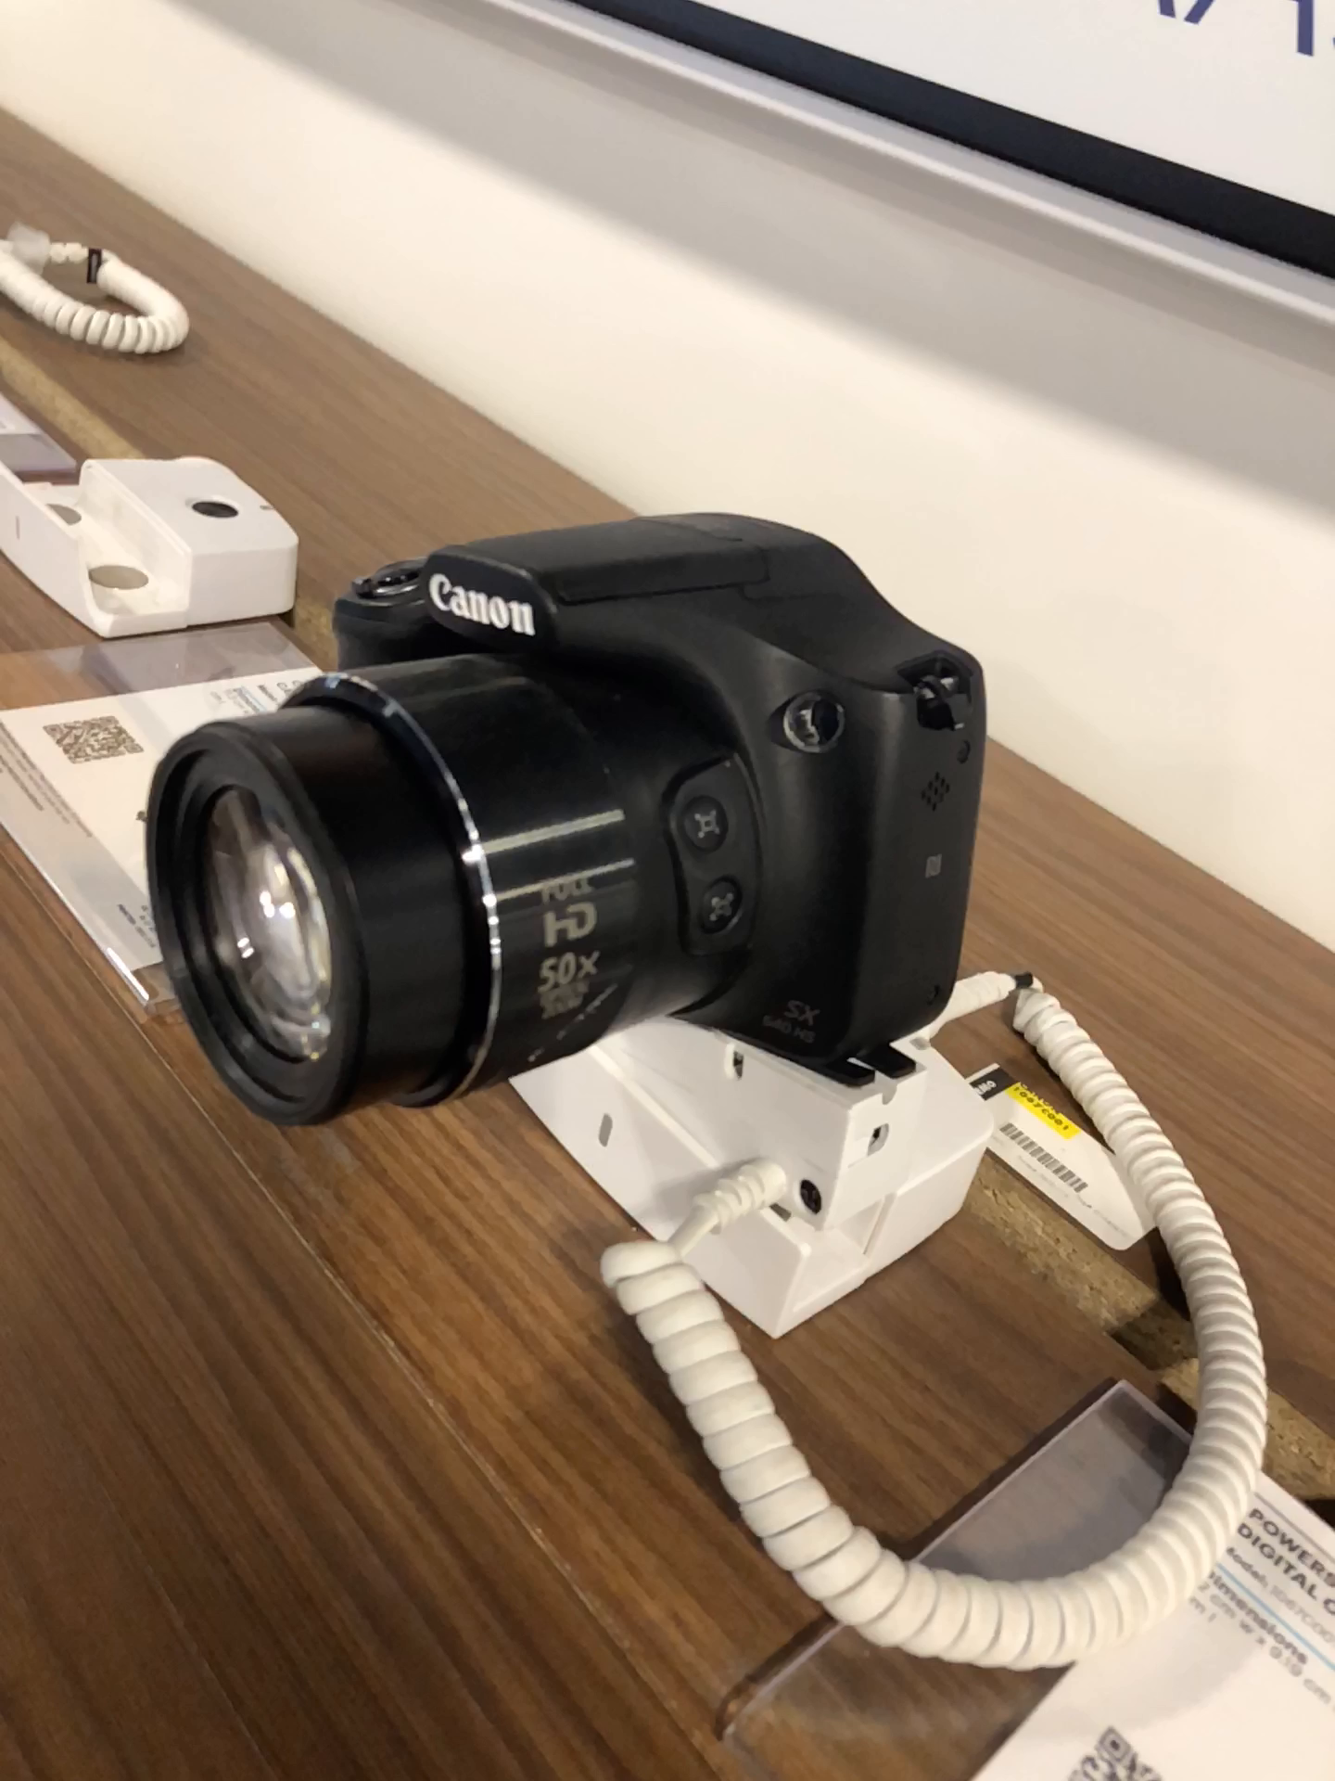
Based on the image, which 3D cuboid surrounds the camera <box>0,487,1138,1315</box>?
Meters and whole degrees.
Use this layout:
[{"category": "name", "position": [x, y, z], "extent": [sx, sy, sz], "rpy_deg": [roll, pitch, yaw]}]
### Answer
[{"category": "camera", "position": [-0.020, -0.020, 0.247], "extent": [0.130, 0.070, 0.140], "rpy_deg": [22, 29, 39]}]
